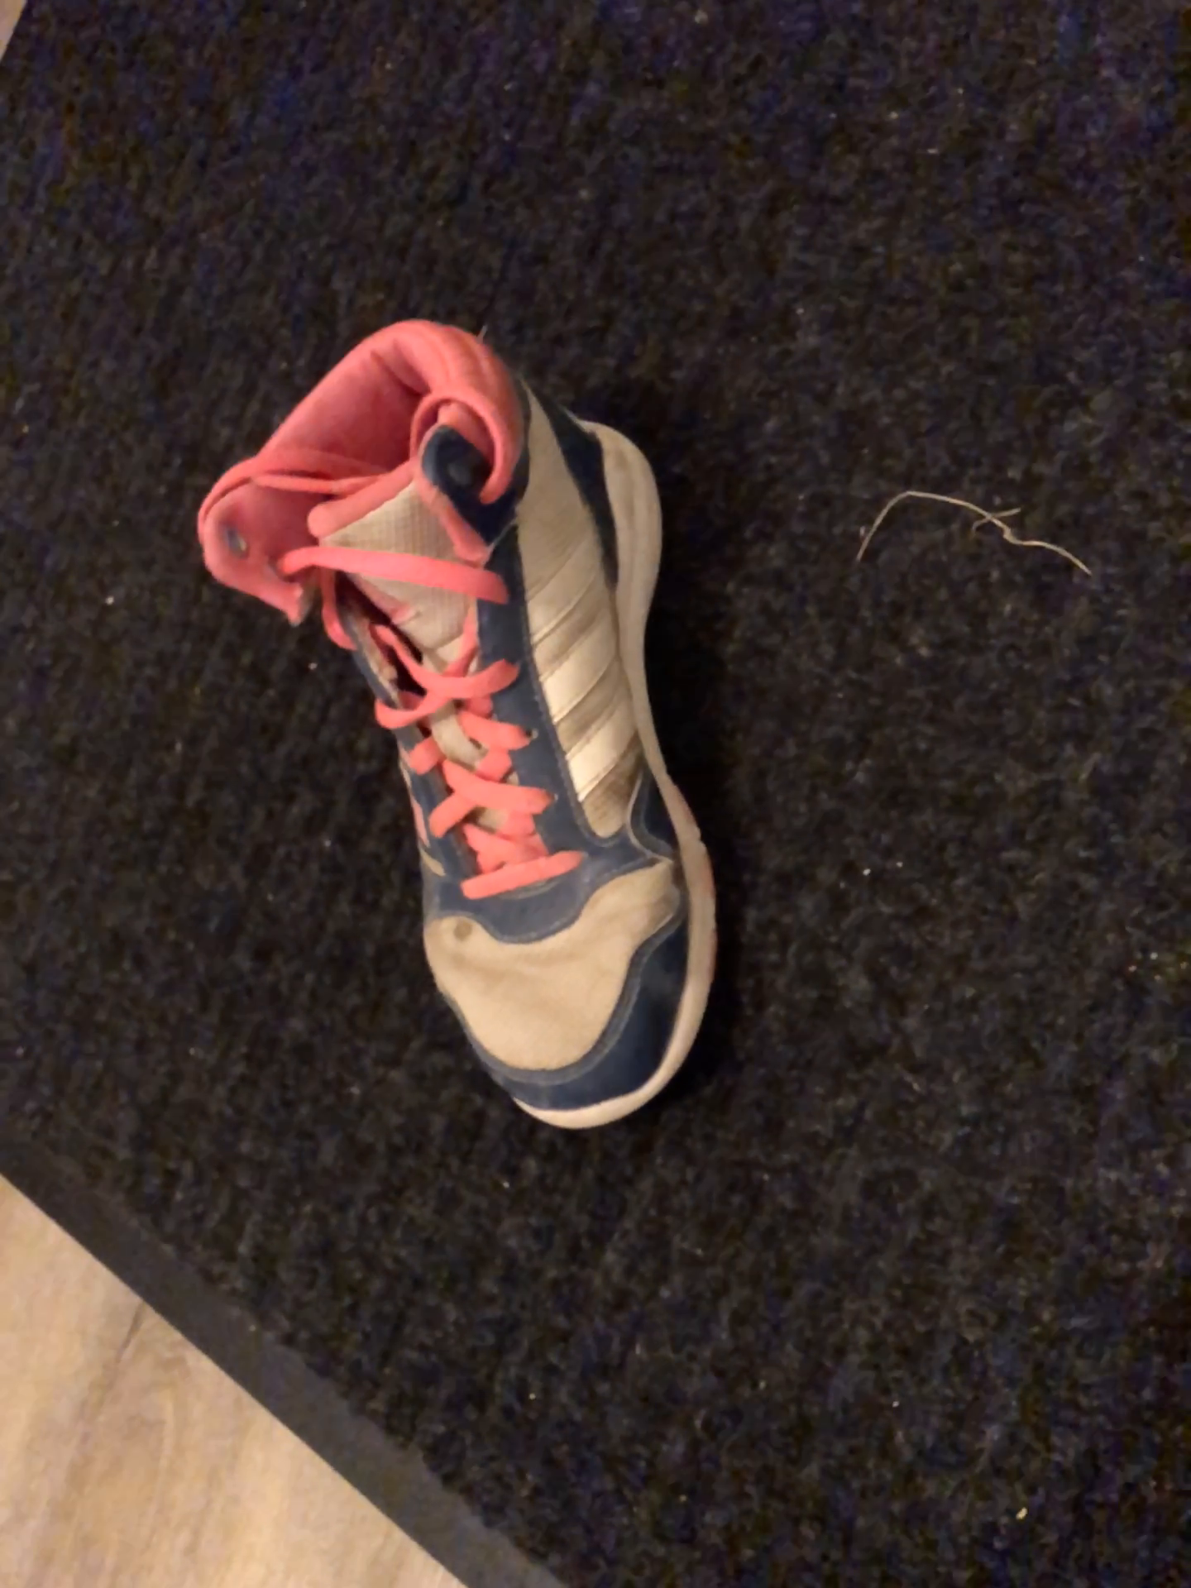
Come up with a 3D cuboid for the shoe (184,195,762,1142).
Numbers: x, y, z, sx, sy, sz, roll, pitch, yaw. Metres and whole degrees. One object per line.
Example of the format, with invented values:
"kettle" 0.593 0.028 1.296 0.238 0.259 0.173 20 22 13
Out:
"shoe" -0.033 -0.021 0.336 0.090 0.100 0.200 -16 69 28
